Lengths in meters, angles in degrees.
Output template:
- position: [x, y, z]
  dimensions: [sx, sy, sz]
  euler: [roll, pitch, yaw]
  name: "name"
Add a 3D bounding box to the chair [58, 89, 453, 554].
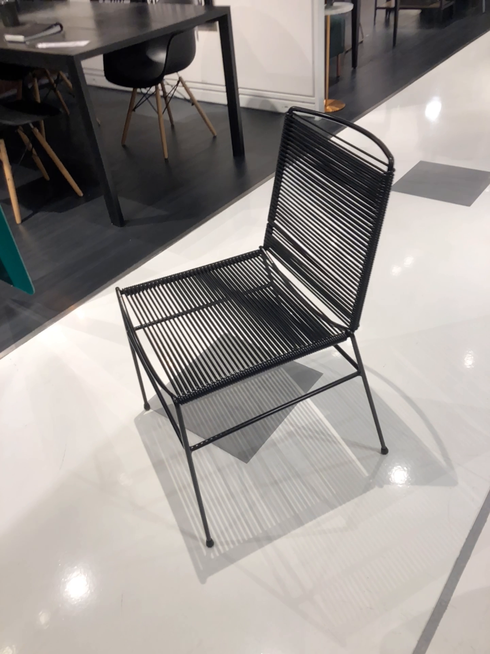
- position: [0.019, -0.025, 1.264]
  dimensions: [0.581, 0.794, 0.523]
  euler: [-21, 40, -17]
  name: "chair"
